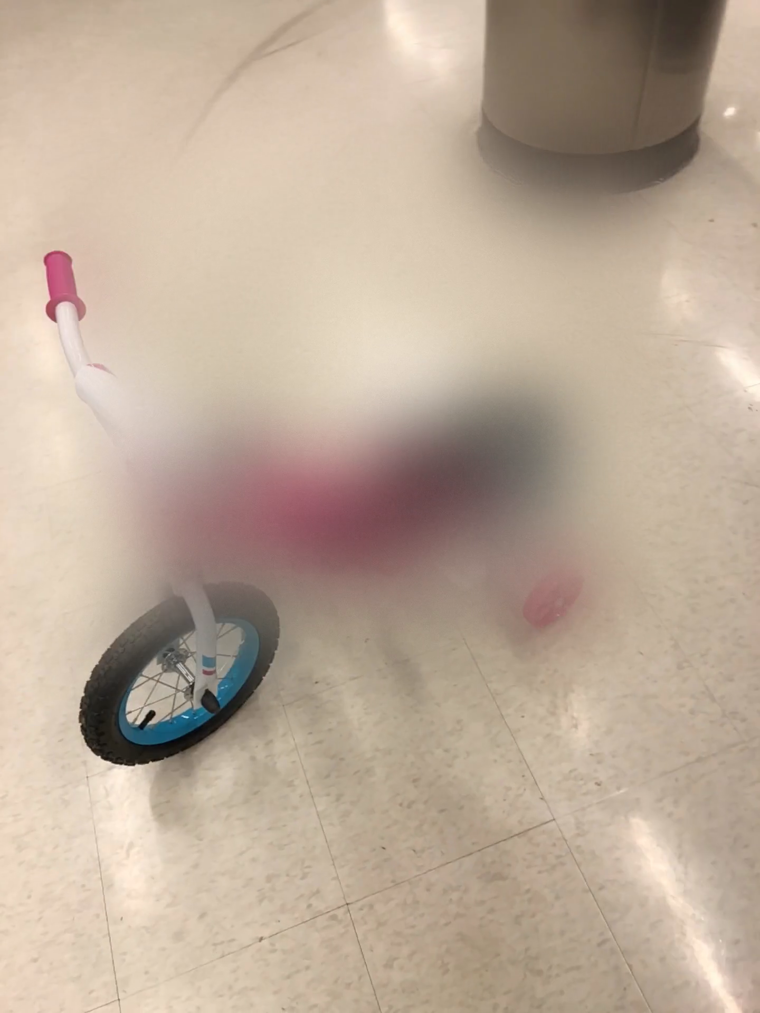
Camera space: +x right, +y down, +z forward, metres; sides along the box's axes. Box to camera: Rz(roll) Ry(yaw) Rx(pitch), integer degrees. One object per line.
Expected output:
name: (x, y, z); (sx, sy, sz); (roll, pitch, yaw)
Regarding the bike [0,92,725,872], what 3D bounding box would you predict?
bike: (-0.084, -0.050, 1.089); (0.815, 0.625, 0.462); (-31, 55, -22)
